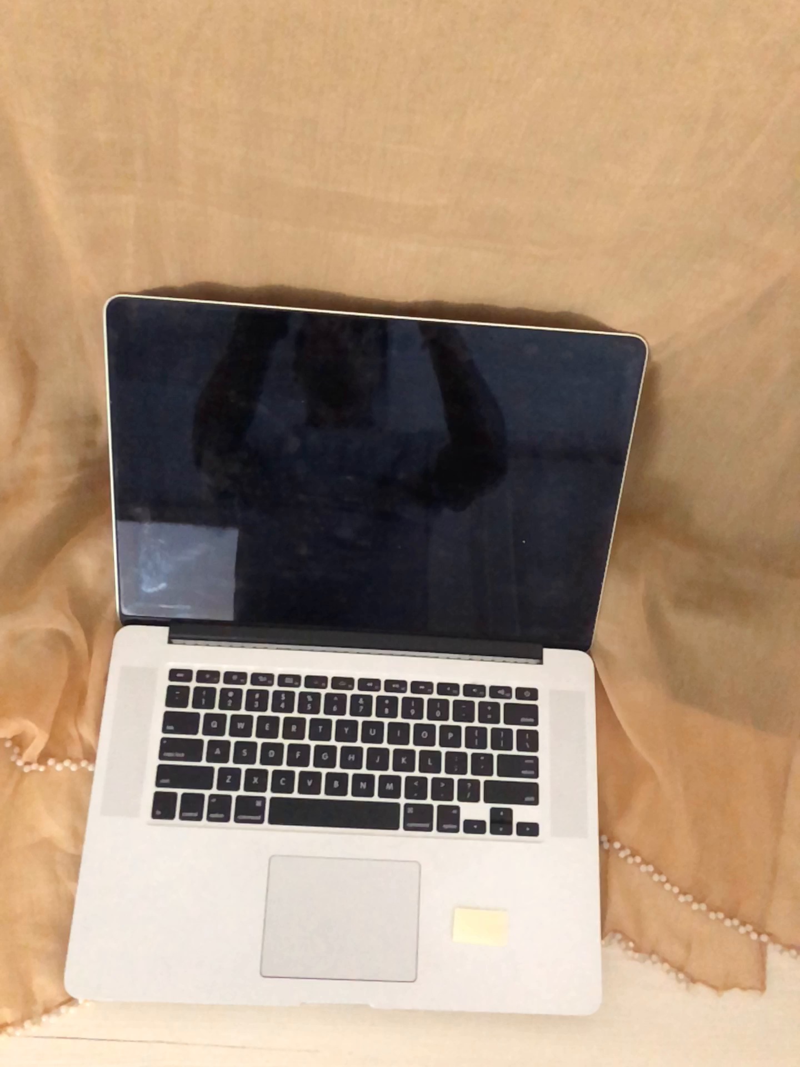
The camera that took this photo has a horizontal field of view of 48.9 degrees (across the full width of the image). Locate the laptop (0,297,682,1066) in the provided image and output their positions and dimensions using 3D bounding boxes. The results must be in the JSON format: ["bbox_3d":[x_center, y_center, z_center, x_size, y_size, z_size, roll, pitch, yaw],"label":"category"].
[{"bbox_3d":[-0.024,0.078,0.549,0.336,0.135,0.405,4,73,-3],"label":"laptop"}]
